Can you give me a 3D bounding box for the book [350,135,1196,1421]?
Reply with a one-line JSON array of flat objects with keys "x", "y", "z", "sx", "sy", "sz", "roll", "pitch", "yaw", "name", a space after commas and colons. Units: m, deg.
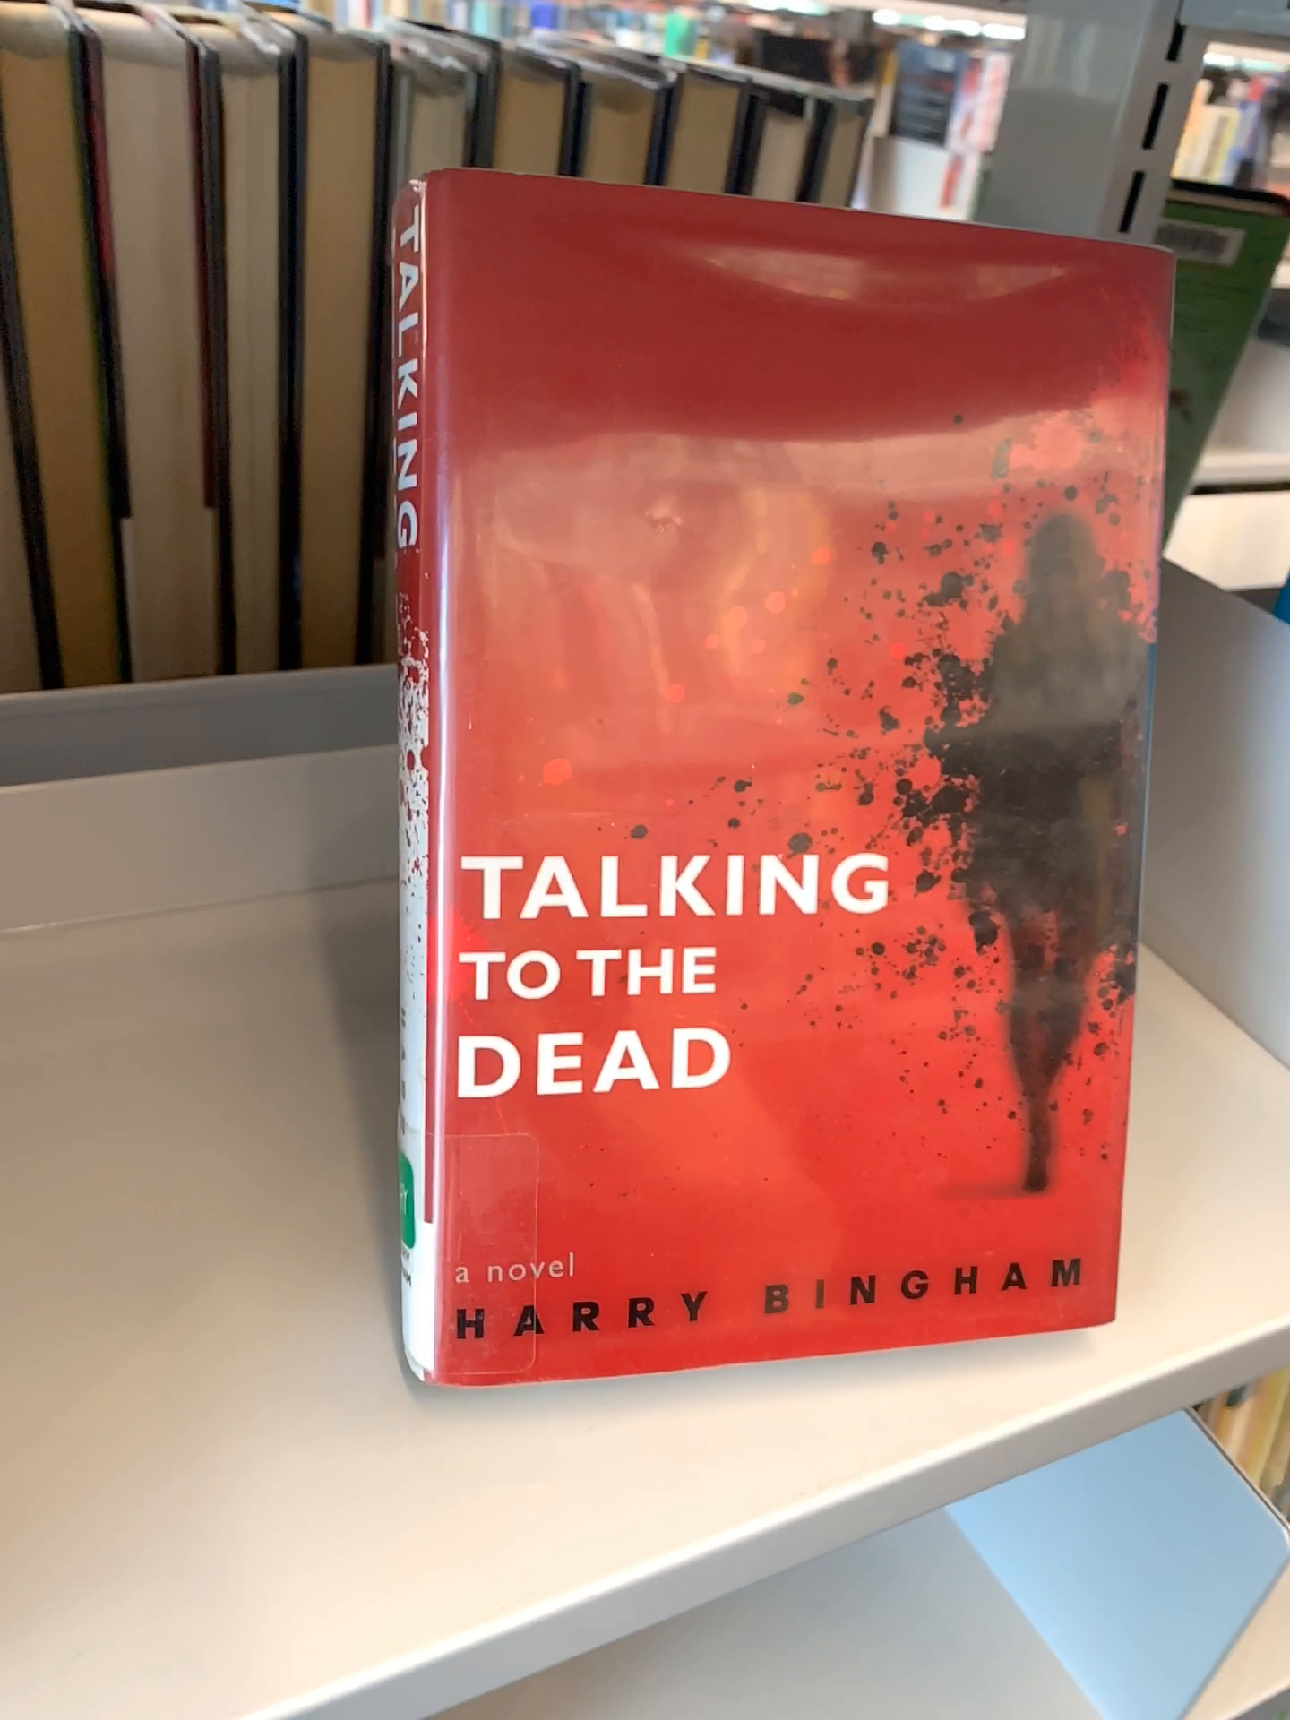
[{"x": 0.024, "y": -0.013, "z": 0.279, "sx": 0.164, "sy": 0.231, "sz": 0.040, "roll": -1, "pitch": 6, "yaw": -13, "name": "book"}]
